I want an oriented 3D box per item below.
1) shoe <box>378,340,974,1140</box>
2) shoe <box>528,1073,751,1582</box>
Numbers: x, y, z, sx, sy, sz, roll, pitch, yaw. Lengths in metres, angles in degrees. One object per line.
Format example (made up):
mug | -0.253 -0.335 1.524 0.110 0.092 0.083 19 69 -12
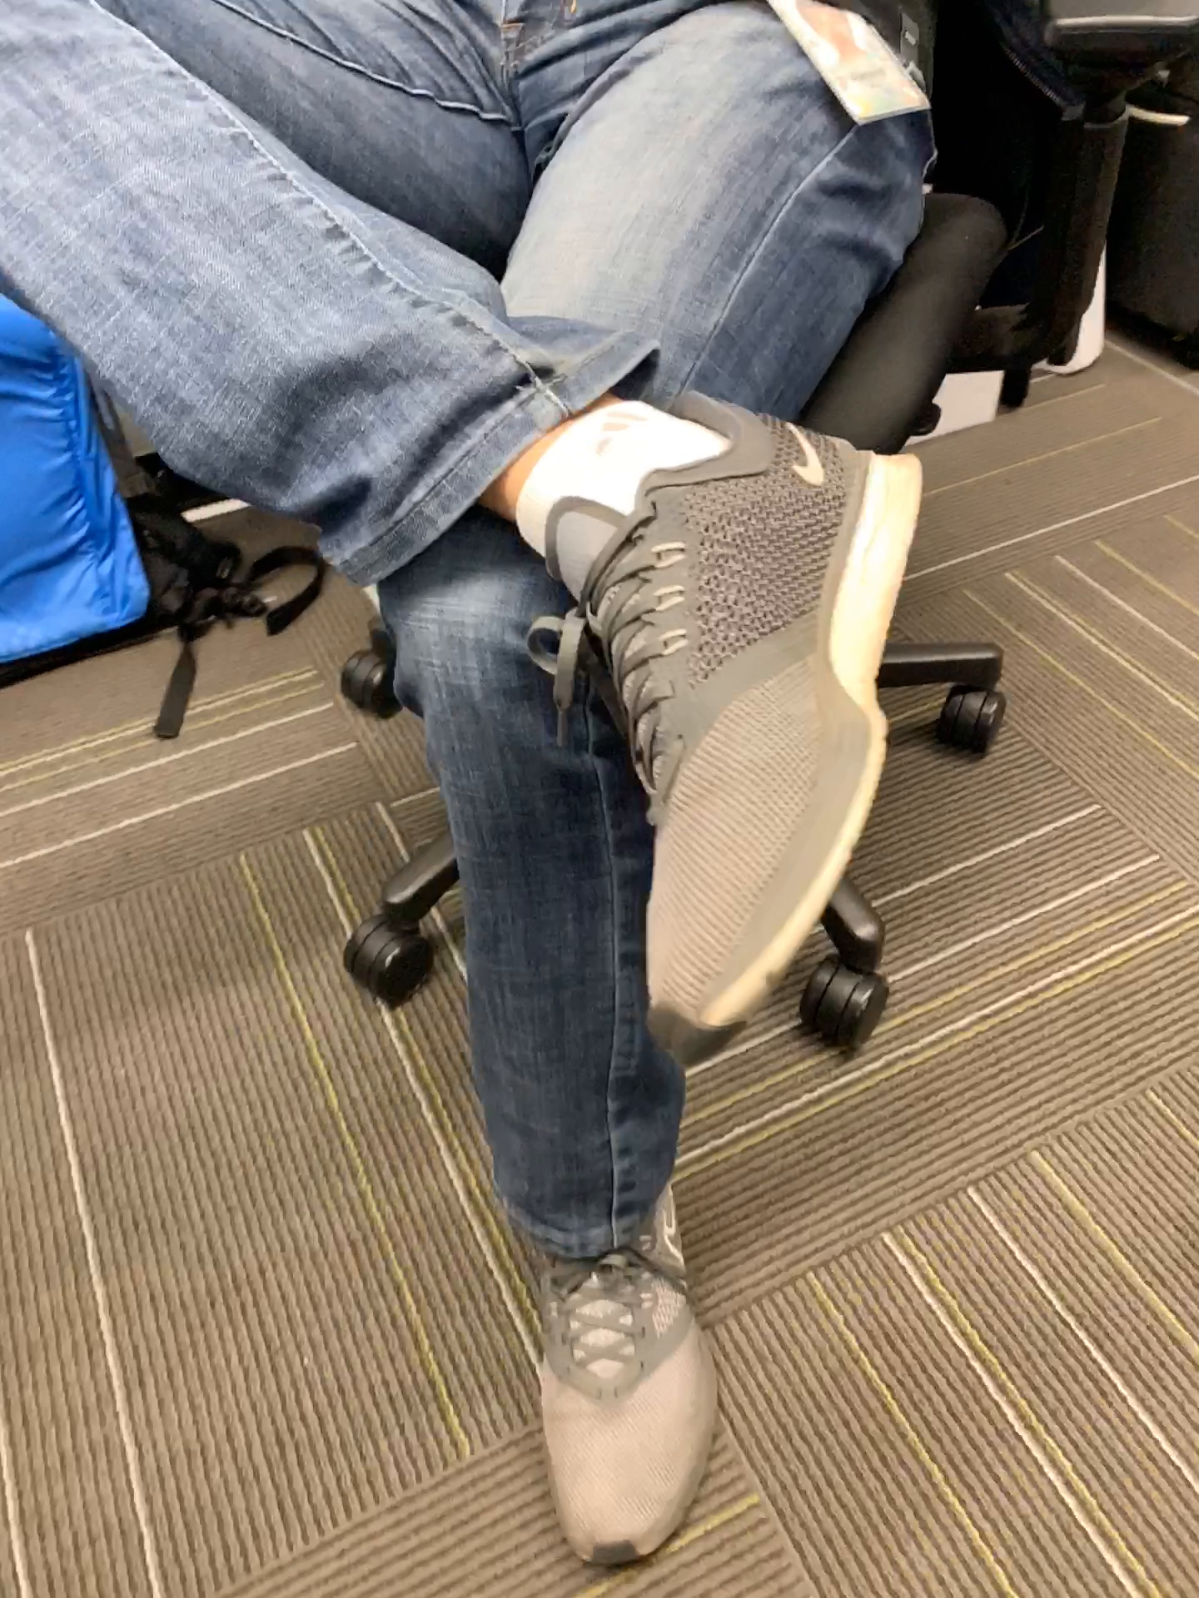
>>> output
shoe | 0.047 -0.046 0.470 0.133 0.120 0.296 13 46 12
shoe | 0.019 0.337 0.820 0.113 0.092 0.289 -5 45 -1
